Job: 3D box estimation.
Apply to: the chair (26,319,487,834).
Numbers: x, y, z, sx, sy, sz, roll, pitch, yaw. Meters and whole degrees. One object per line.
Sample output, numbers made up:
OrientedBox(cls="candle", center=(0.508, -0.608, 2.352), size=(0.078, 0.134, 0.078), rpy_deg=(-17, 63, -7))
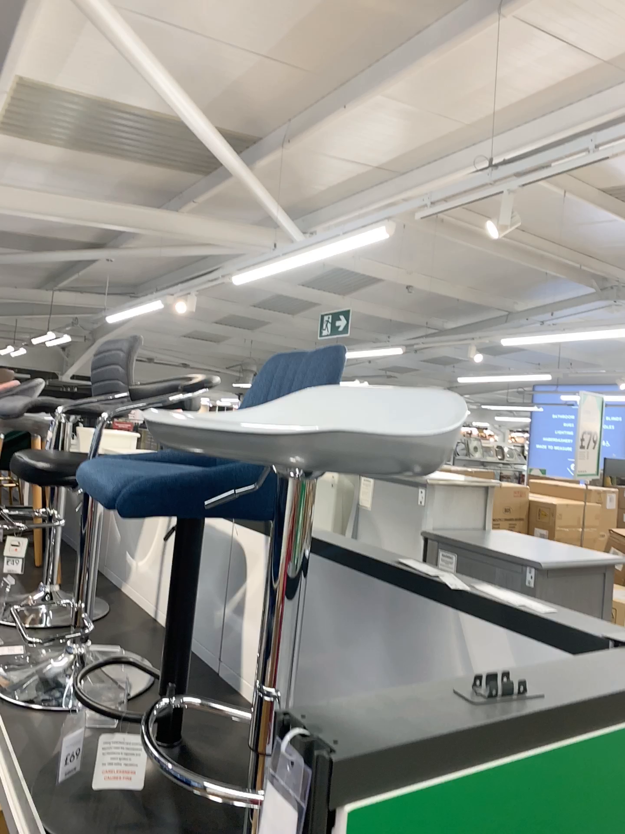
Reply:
OrientedBox(cls="chair", center=(-0.075, 0.312, 0.892), size=(0.402, 0.804, 0.402), rpy_deg=(8, -3, -42))

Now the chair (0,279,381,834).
OrientedBox(cls="chair", center=(-0.263, 0.251, 1.261), size=(0.482, 0.884, 0.532), rpy_deg=(7, -3, -38))
